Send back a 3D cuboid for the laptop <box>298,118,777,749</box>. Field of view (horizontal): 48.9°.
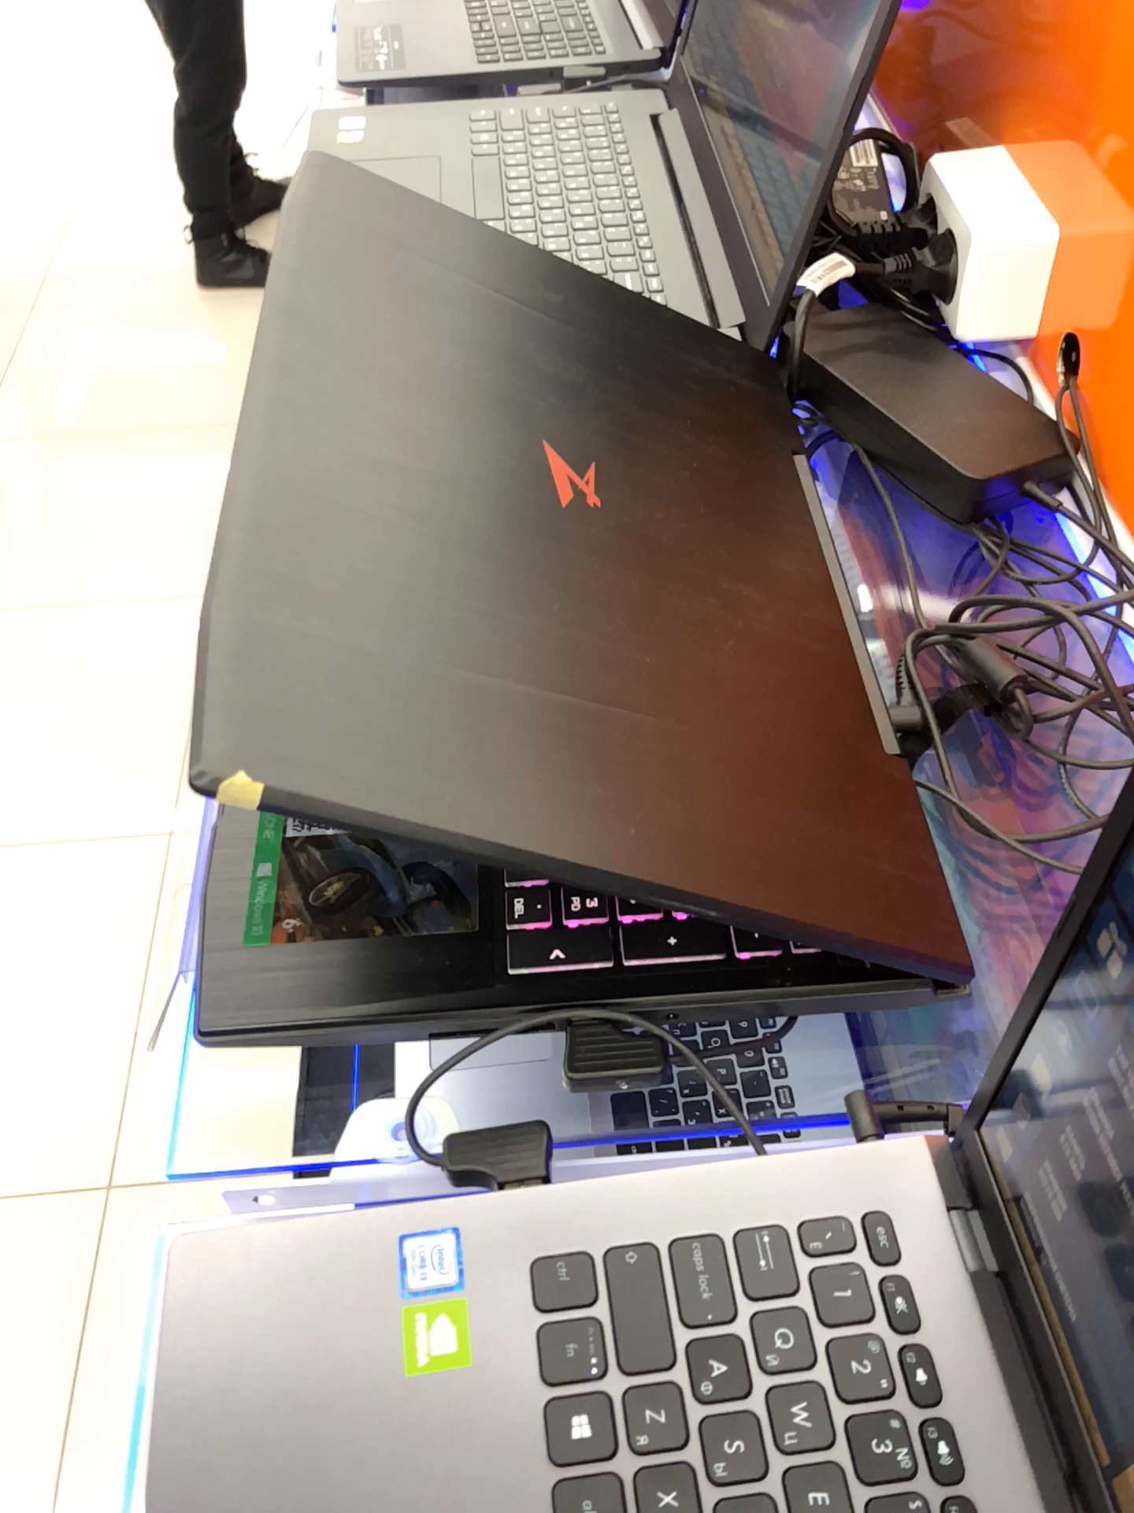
[{"bbox_3d":[-0.028,-0.254,0.943,0.272,0.270,0.408,-4,48,-2],"label":"laptop"}]

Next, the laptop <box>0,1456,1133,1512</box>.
[{"bbox_3d":[0.023,0.424,0.319,0.229,0.240,0.360,-4,47,0],"label":"laptop"}]

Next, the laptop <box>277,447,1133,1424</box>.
[{"bbox_3d":[0.035,0.077,0.640,0.286,0.256,0.396,-5,48,0],"label":"laptop"}]

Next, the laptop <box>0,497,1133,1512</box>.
[{"bbox_3d":[0.013,0.182,0.159,0.230,0.216,0.353,-8,47,-4],"label":"laptop"}]

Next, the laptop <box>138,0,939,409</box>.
[{"bbox_3d":[-0.015,-0.413,0.693,0.318,0.228,0.360,-5,49,-2],"label":"laptop"}]

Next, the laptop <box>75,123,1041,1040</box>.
[{"bbox_3d":[-0.015,-0.096,0.478,0.243,0.121,0.366,-5,48,-1],"label":"laptop"}]
